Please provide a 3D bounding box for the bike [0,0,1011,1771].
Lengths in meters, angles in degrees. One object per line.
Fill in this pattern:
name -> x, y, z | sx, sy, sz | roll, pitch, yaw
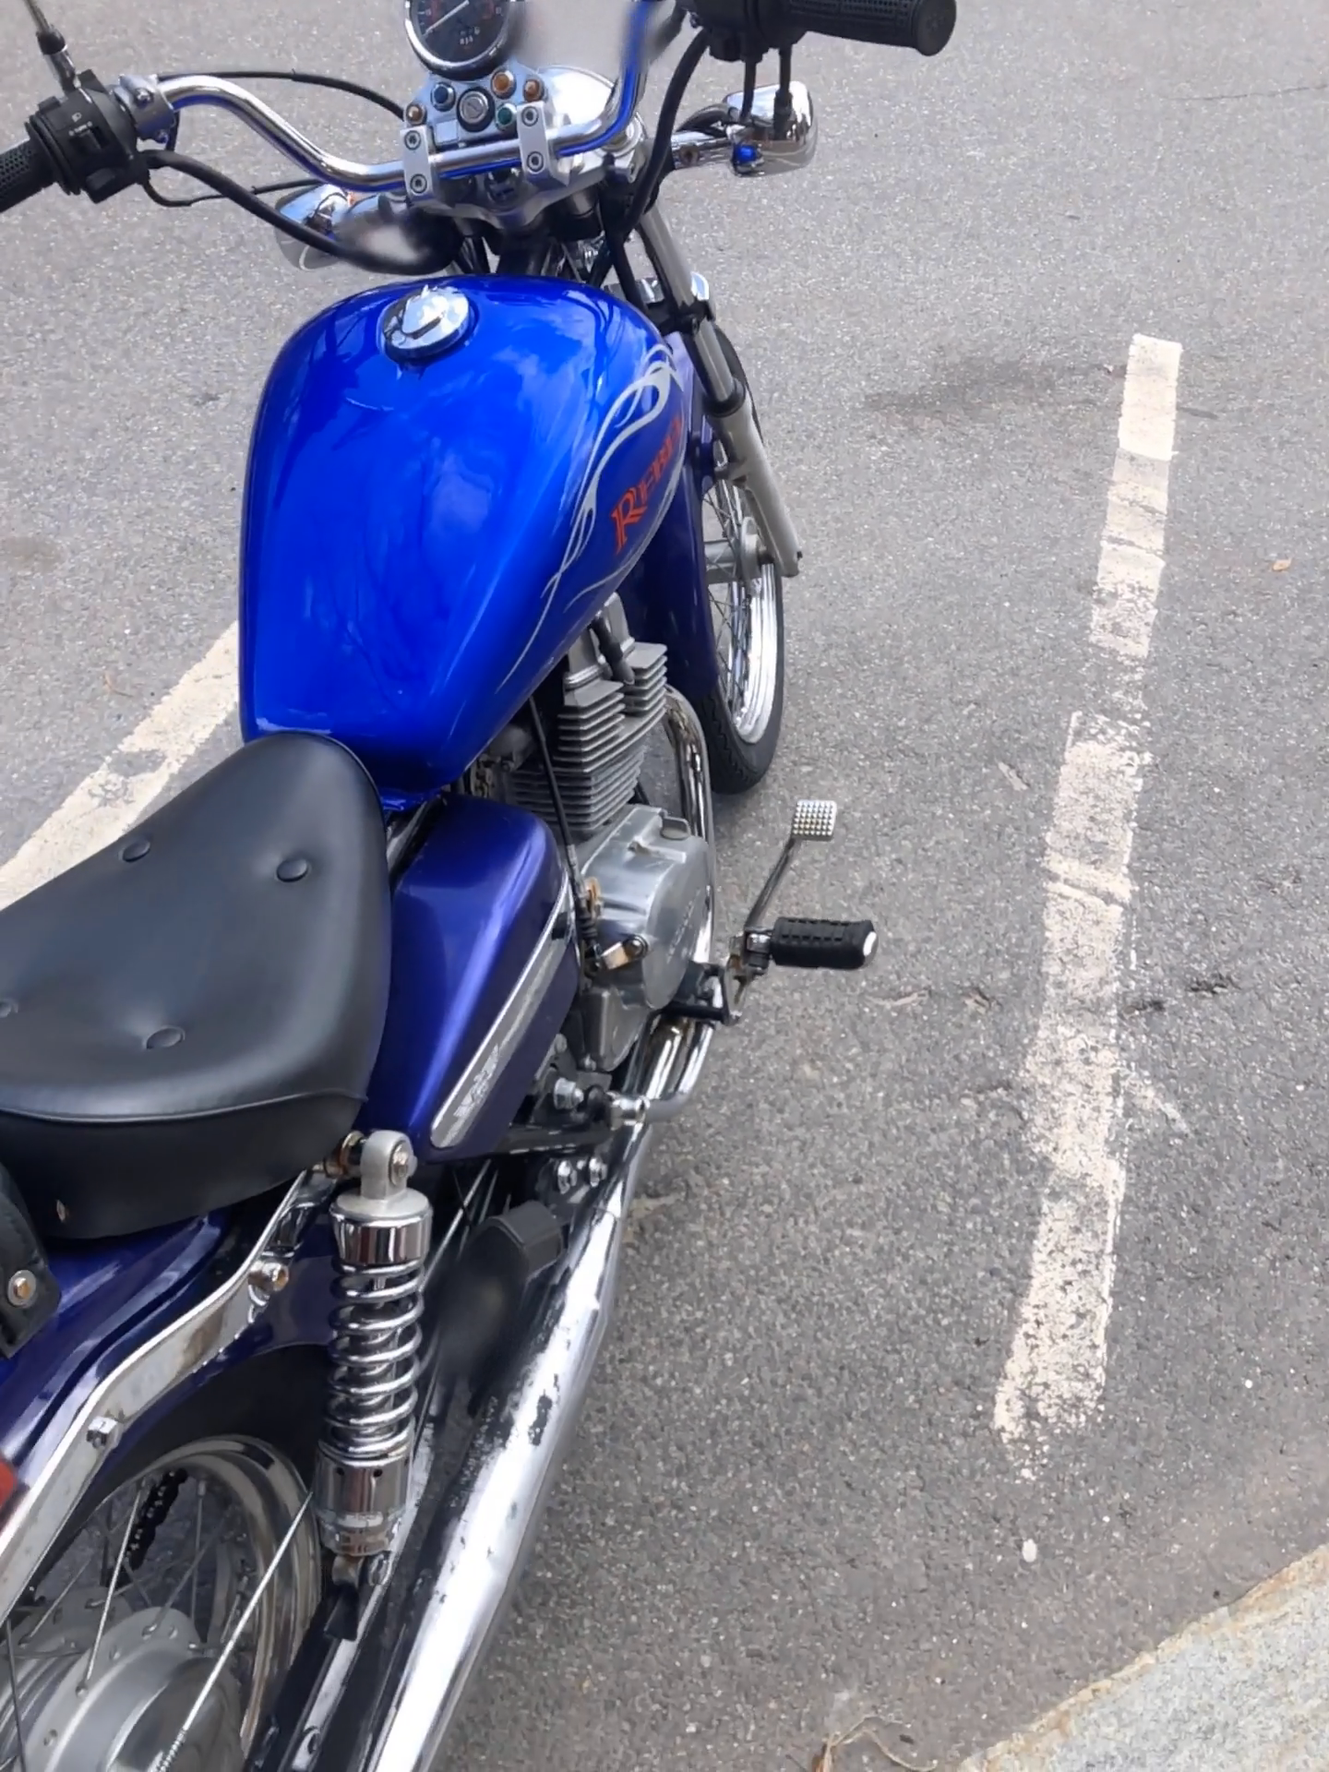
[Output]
bike -> -0.285, -0.203, 1.184 | 0.787, 1.037, 1.921 | 11, 47, 9
